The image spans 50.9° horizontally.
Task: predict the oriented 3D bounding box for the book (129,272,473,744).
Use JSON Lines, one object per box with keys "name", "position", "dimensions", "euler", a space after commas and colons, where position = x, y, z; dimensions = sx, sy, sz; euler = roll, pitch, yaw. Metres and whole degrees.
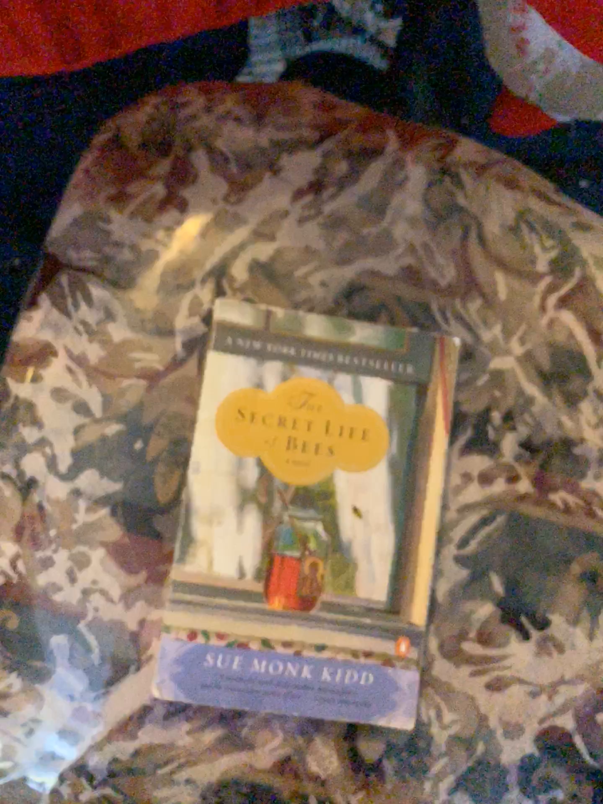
{"name": "book", "position": [0.003, 0.049, 0.329], "dimensions": [0.140, 0.040, 0.210], "euler": [8, 82, 0]}
